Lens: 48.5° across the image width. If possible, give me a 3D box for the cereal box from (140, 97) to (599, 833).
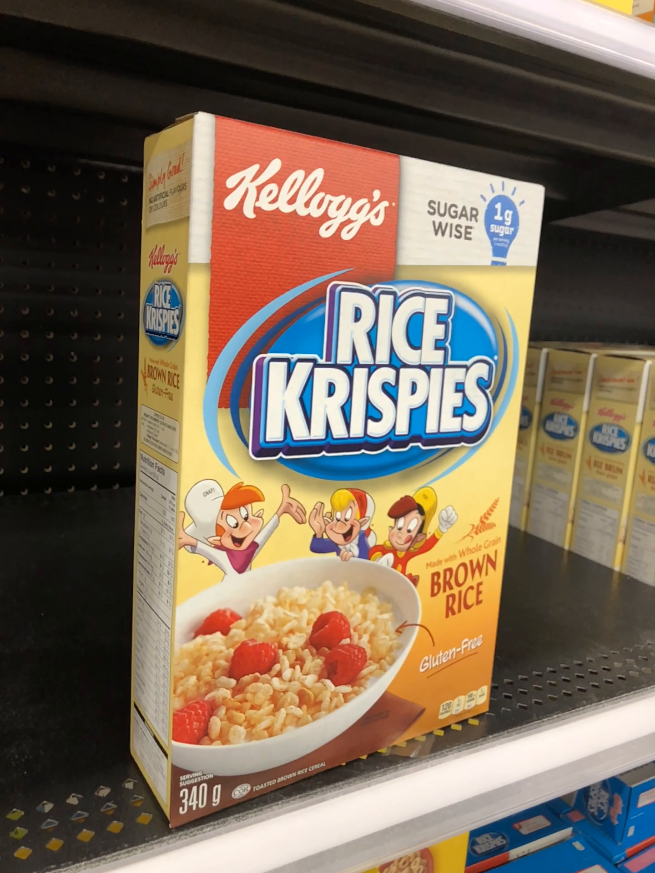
[{"bbox_3d":[0.024,0.013,0.361,0.210,0.289,0.060,-3,12,-34],"label":"cereal box"}]
